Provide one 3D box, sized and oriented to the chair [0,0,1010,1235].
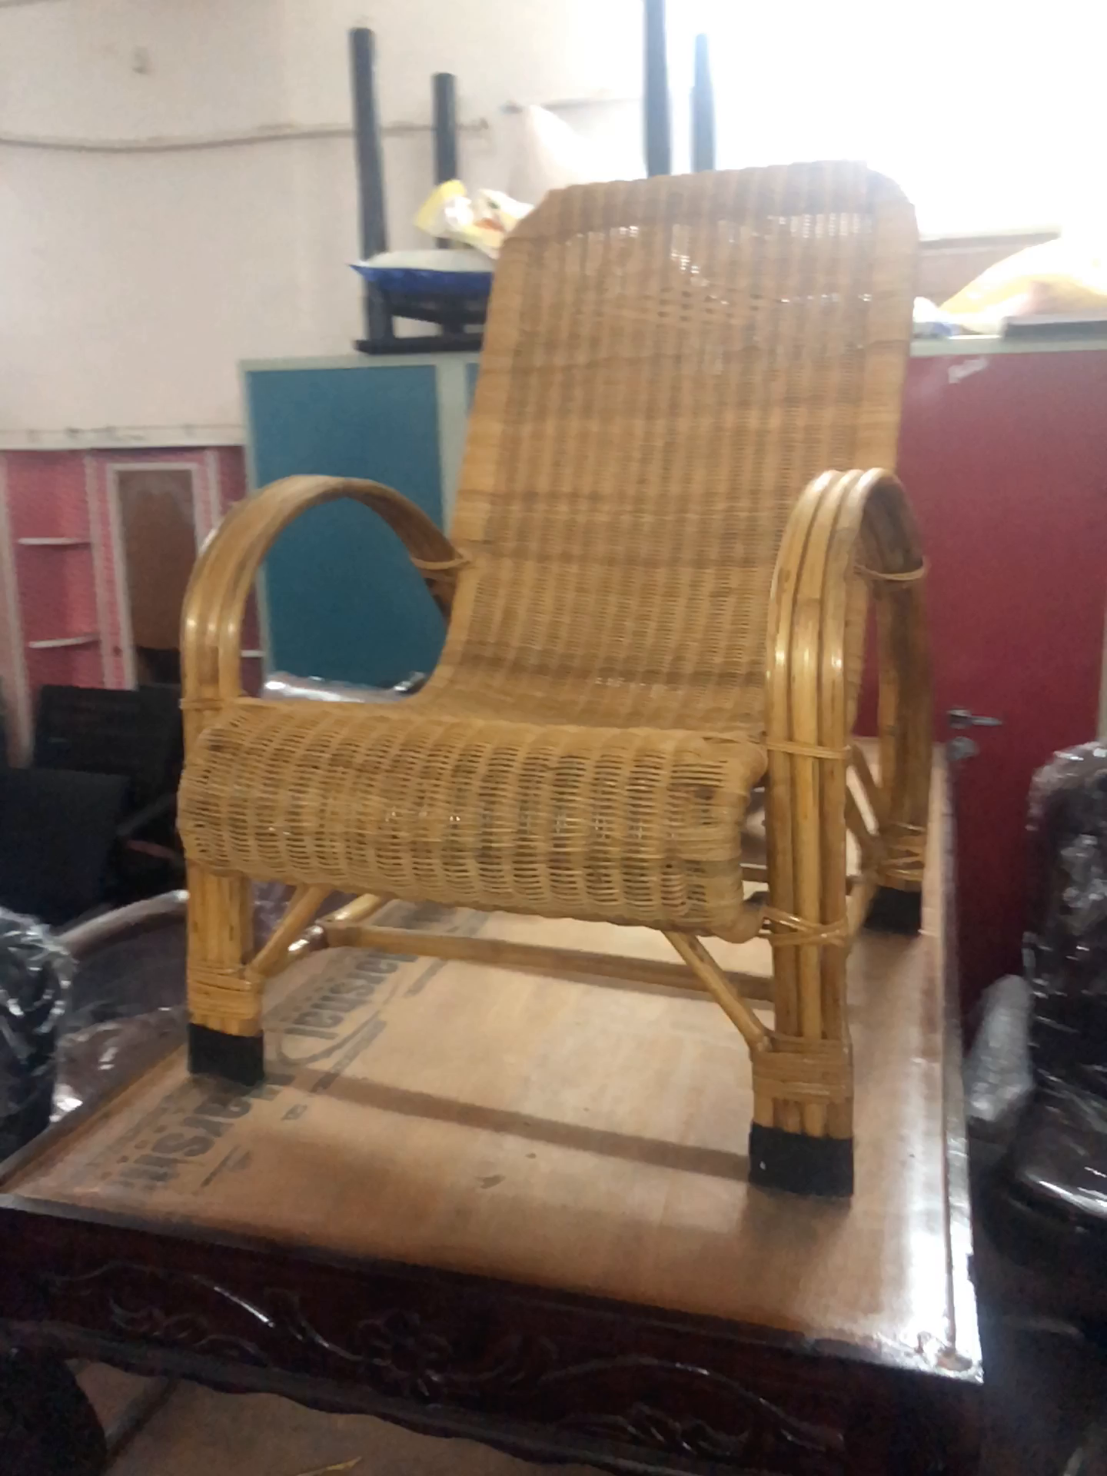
[{"bbox_3d":[0.052,-0.223,1.324,0.769,0.997,0.823,4,13,20],"label":"chair"}]
